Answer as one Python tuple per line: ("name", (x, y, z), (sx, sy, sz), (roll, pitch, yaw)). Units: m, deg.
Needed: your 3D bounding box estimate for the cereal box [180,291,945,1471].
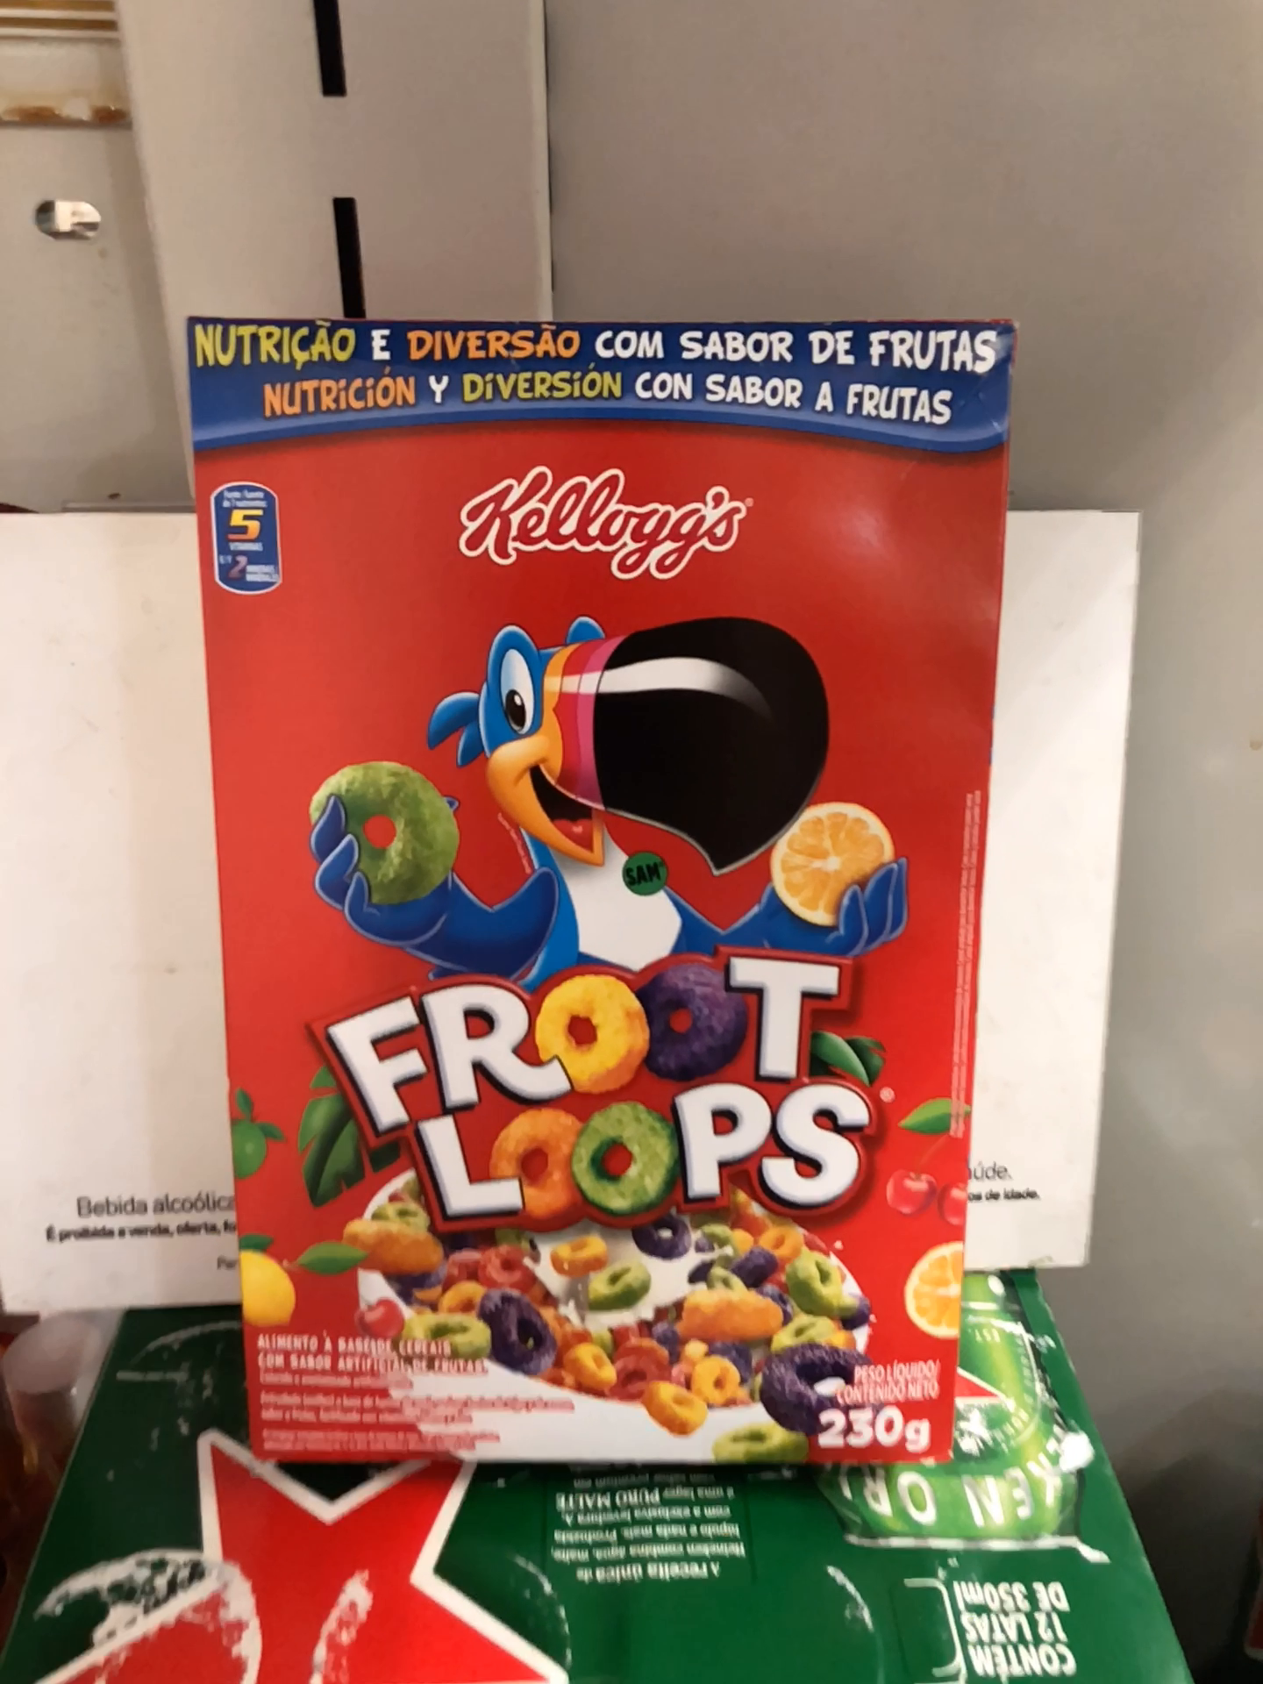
("cereal box", (-0.014, 0.013, 0.330), (0.150, 0.259, 0.060), (0, 11, 0))
